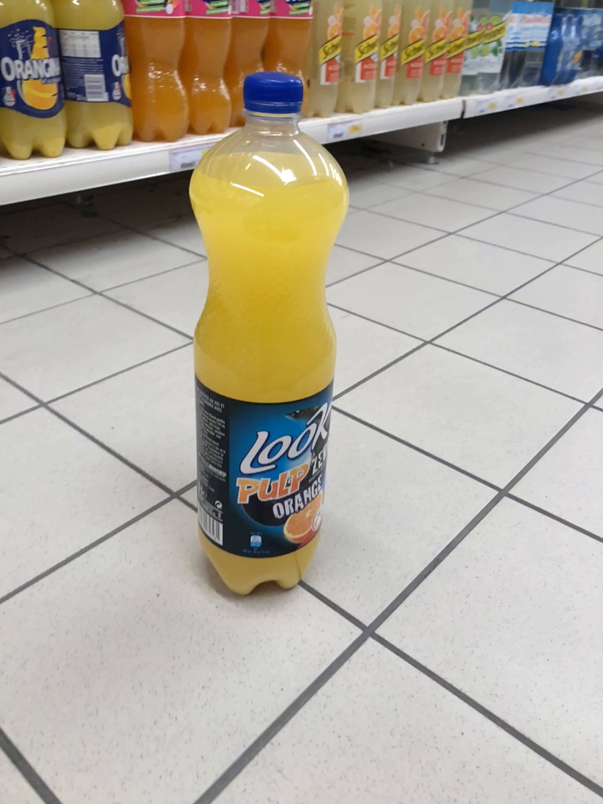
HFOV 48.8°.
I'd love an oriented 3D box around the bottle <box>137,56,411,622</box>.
[{"bbox_3d":[-0.024,-0.029,0.409,0.100,0.318,0.100,2,31,-1],"label":"bottle"}]
